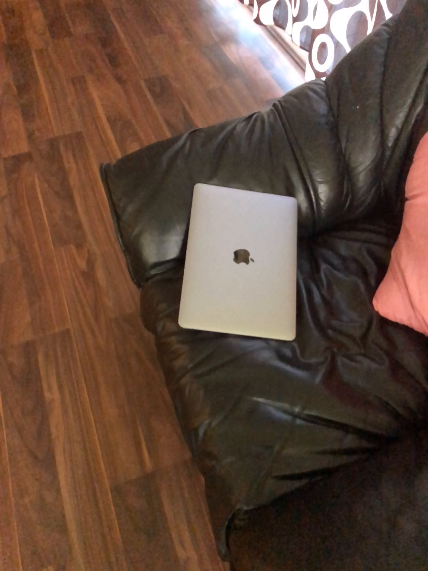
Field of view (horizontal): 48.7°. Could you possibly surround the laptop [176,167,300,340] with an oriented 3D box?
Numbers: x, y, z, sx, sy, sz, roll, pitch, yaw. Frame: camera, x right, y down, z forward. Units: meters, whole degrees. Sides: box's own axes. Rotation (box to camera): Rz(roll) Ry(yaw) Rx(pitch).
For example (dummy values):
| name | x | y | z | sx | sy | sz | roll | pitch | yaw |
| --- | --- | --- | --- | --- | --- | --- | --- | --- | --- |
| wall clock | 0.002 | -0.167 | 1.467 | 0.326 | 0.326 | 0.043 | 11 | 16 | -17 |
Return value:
| name | x | y | z | sx | sy | sz | roll | pitch | yaw |
| --- | --- | --- | --- | --- | --- | --- | --- | --- | --- |
| laptop | 0.047 | -0.057 | 0.773 | 0.185 | 0.036 | 0.265 | 8 | 65 | -6 |
